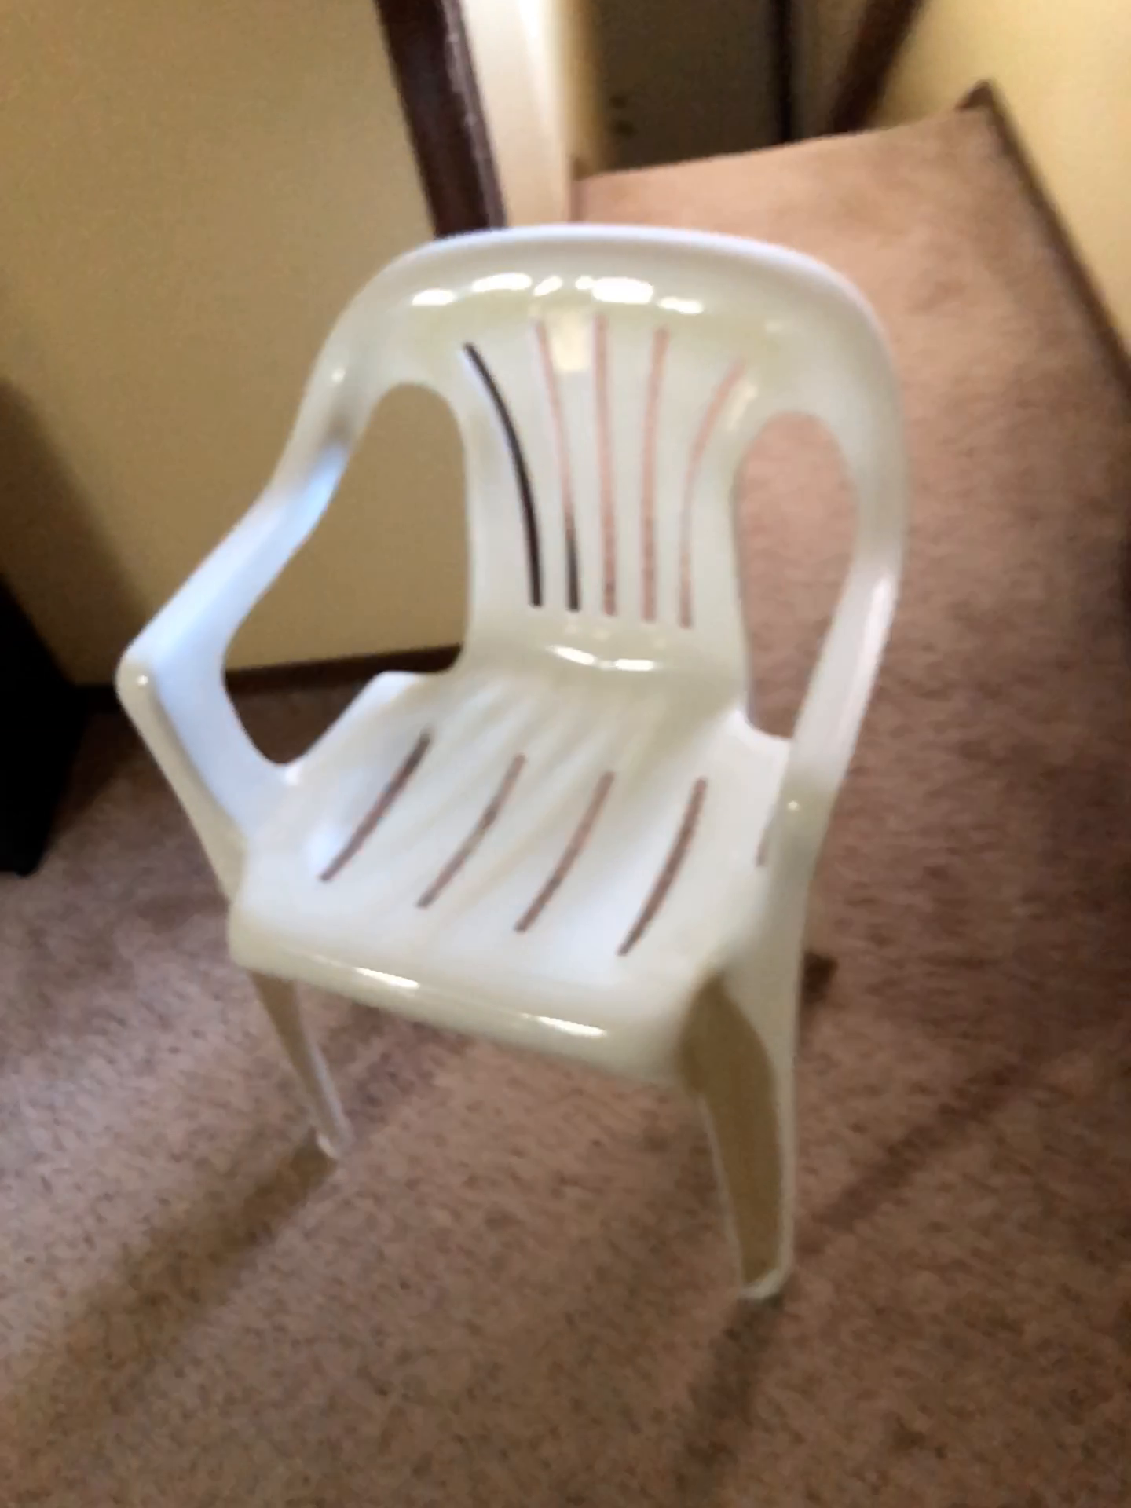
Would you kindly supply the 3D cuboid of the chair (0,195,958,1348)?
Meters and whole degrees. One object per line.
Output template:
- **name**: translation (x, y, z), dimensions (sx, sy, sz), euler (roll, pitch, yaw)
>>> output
- **chair**: translation (-0.045, 0.036, 1.034), dimensions (0.581, 0.768, 0.470), euler (11, 52, 21)
